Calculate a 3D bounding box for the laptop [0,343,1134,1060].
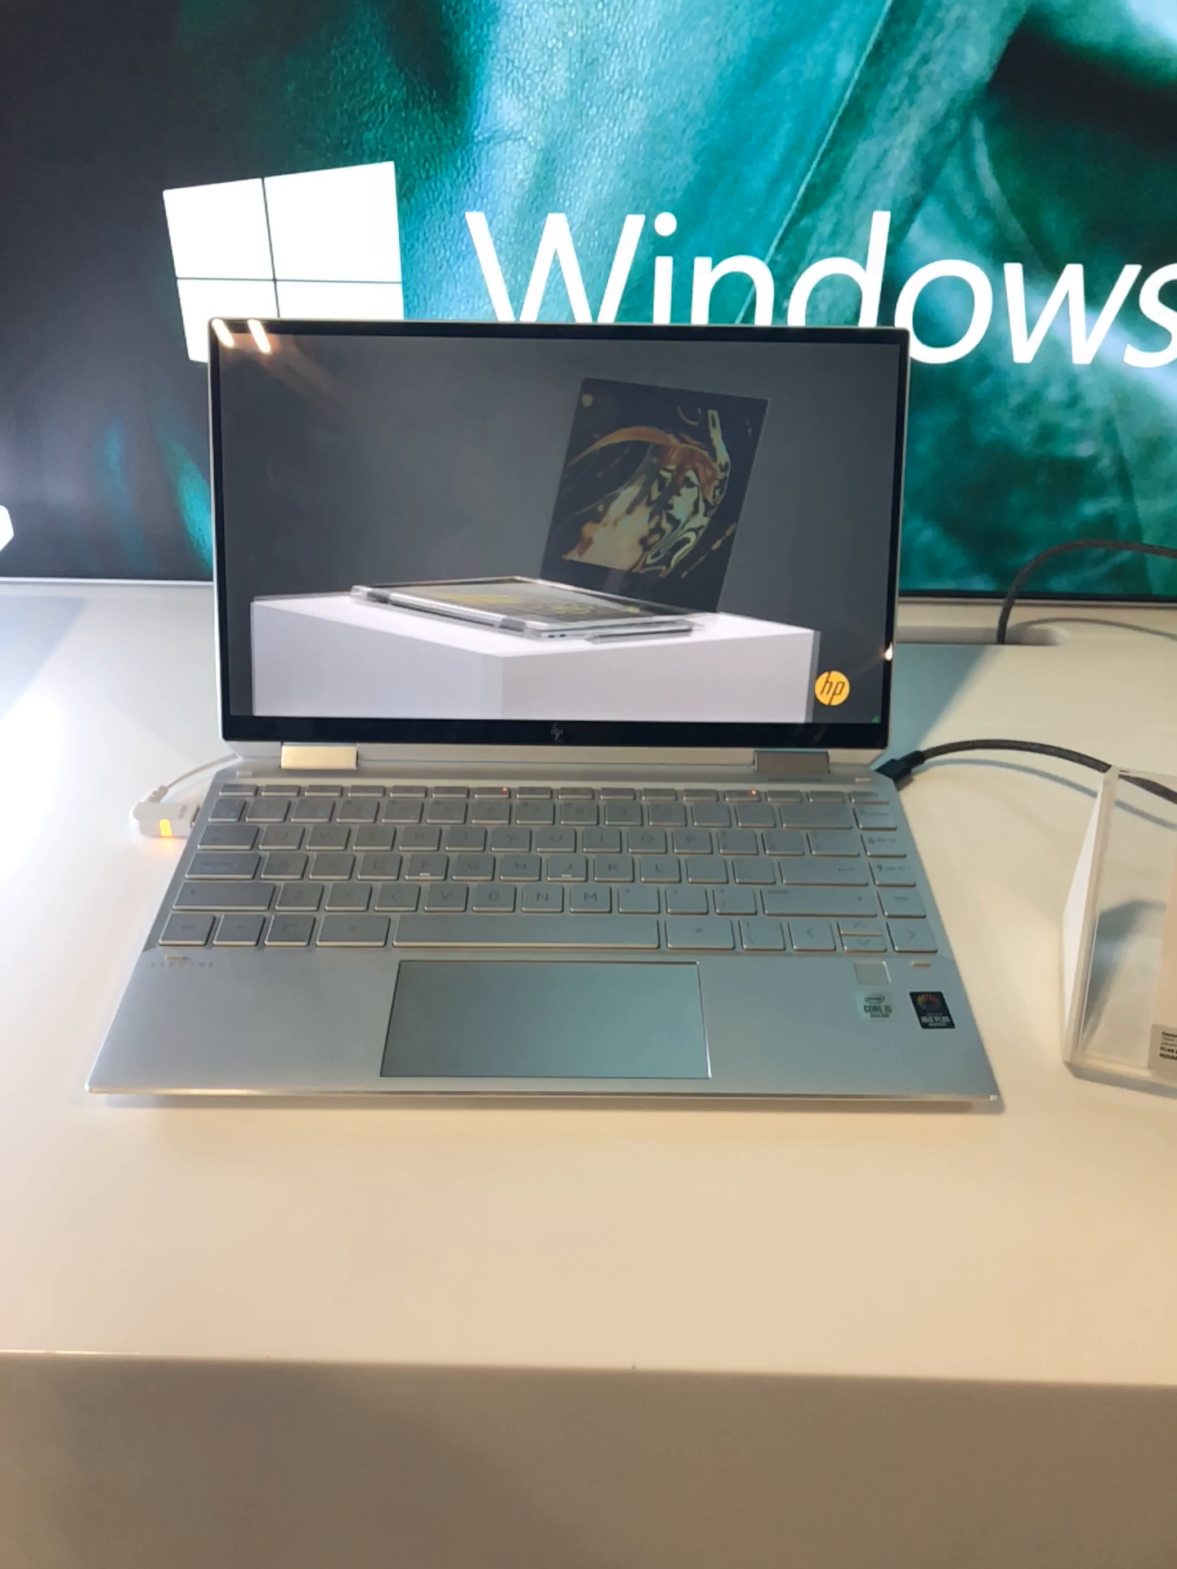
[{"bbox_3d":[-0.012,-0.045,0.477,0.281,0.194,0.241,1,28,-1],"label":"laptop"}]
